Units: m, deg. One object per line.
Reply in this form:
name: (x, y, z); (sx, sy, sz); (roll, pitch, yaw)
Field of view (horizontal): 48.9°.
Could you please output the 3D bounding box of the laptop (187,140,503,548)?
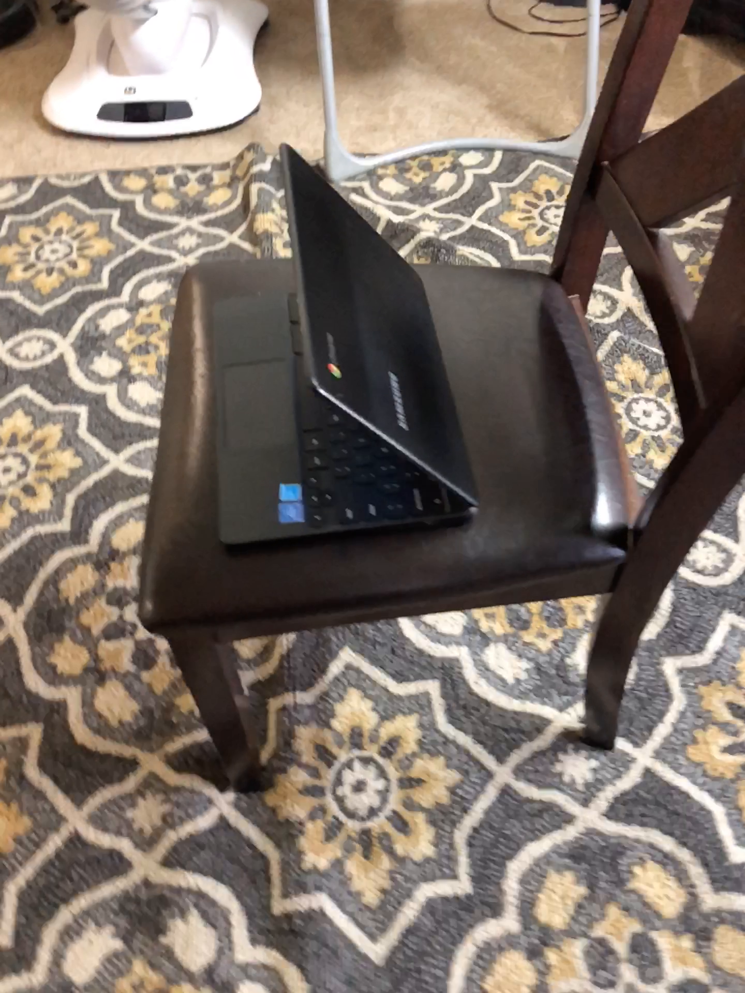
laptop: (-0.032, -0.123, 0.636); (0.191, 0.155, 0.264); (-7, 54, -3)
